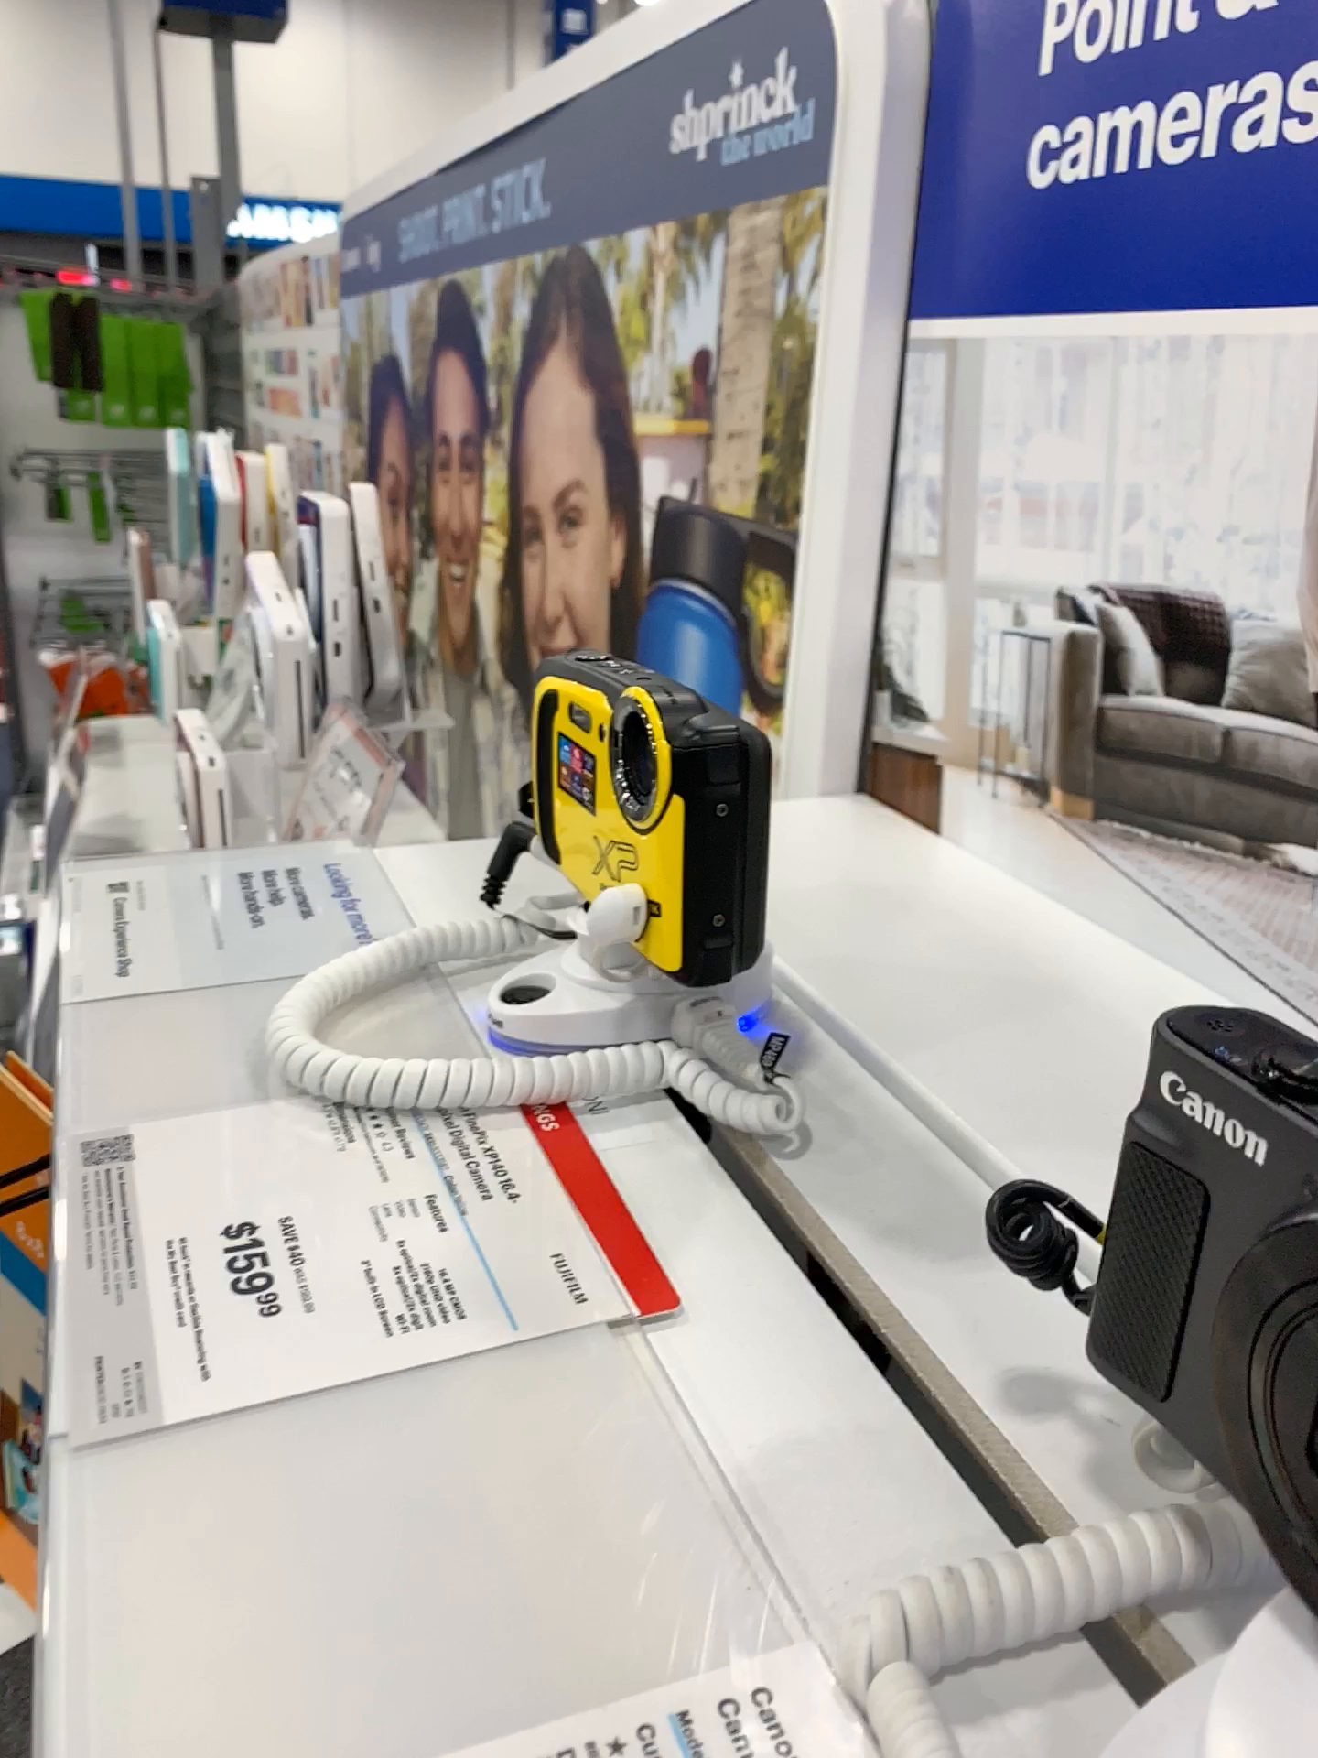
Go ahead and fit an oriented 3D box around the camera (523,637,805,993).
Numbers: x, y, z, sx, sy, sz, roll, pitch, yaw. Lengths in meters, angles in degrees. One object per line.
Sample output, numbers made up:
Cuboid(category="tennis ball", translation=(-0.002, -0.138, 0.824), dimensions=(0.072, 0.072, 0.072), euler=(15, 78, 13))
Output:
Cuboid(category="camera", translation=(-0.004, -0.022, 0.350), dimensions=(0.030, 0.060, 0.110), euler=(-6, 21, -22))
